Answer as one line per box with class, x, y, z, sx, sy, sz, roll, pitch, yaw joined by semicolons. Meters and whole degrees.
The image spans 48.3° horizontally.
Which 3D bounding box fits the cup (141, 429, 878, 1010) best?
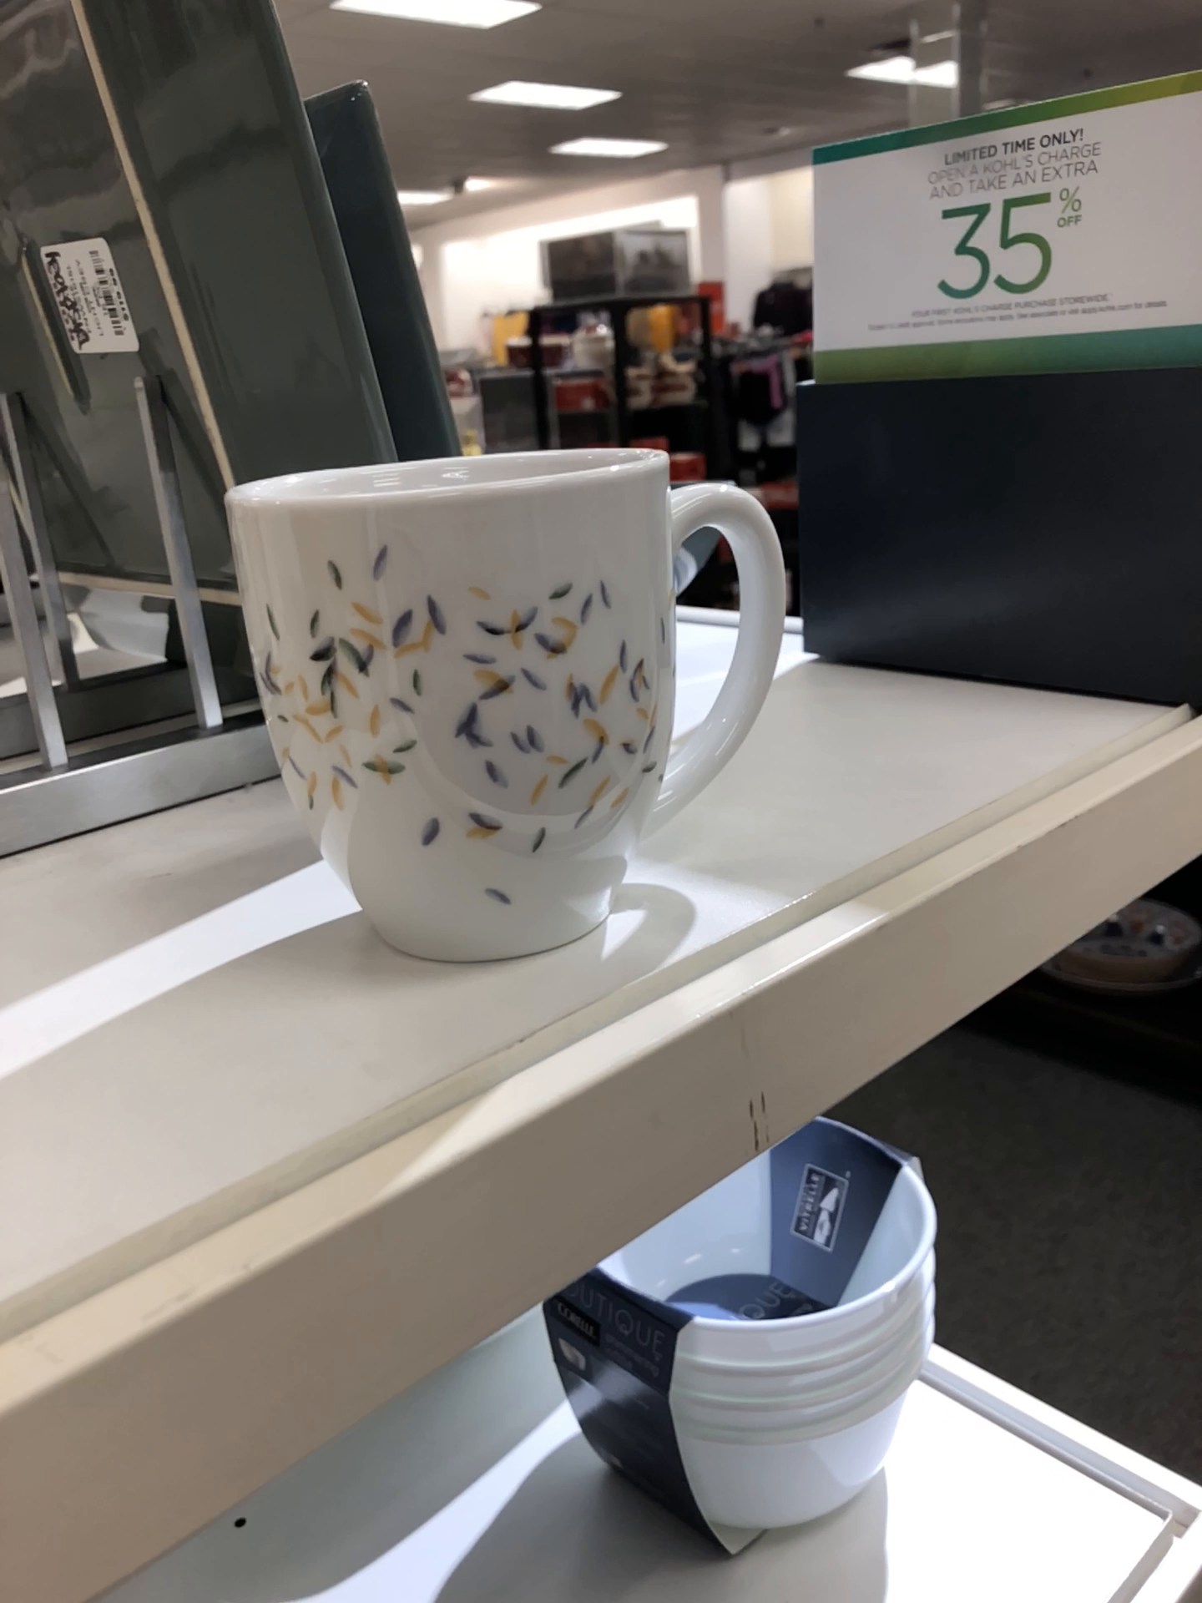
cup;-0.018;-0.030;0.299;0.127;0.091;0.093;-15;21;-31
